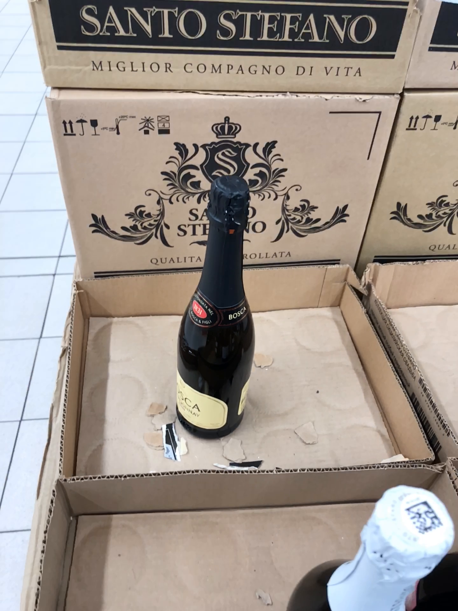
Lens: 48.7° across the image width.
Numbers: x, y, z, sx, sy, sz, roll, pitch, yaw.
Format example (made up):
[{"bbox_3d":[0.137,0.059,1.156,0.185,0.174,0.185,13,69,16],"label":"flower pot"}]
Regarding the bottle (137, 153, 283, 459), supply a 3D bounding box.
[{"bbox_3d":[-0.021,0.020,0.500,0.080,0.308,0.090,-21,49,-22],"label":"bottle"}]
